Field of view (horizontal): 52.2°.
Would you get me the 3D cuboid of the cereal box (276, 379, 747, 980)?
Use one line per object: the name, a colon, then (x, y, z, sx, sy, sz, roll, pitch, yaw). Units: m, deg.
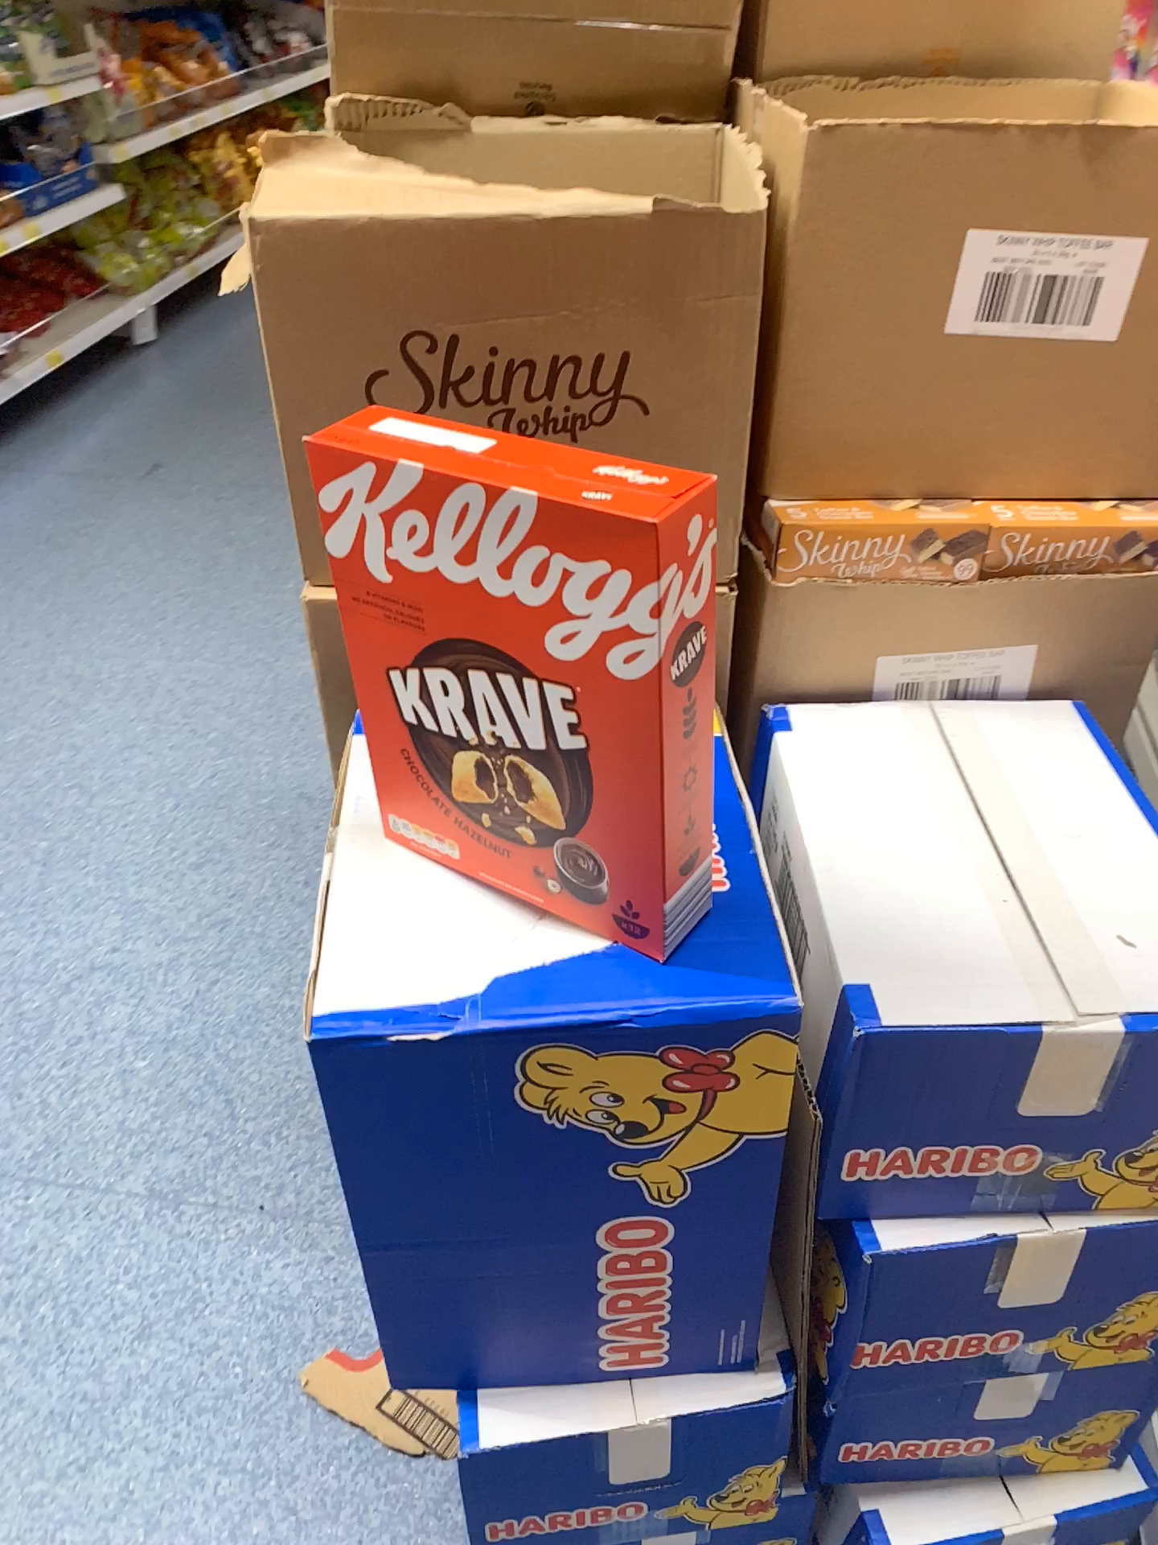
cereal box: (-0.027, -0.043, 0.559, 0.201, 0.238, 0.060, 21, 43, 29)
